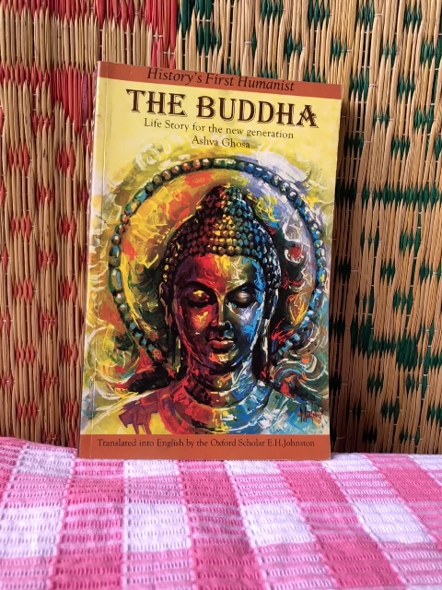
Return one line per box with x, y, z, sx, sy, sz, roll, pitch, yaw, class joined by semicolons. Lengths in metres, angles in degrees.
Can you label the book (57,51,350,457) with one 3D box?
-0.007;-0.019;0.274;0.146;0.207;0.030;3;-3;-7;book
